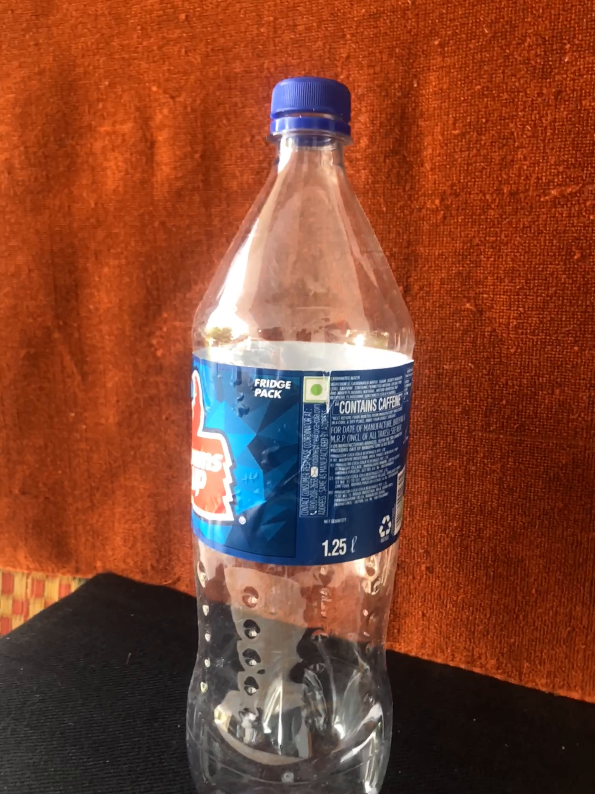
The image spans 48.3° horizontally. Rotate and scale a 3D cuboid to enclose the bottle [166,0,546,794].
[{"bbox_3d":[0.007,0.016,0.254,0.090,0.289,0.100,-4,14,-23],"label":"bottle"}]
